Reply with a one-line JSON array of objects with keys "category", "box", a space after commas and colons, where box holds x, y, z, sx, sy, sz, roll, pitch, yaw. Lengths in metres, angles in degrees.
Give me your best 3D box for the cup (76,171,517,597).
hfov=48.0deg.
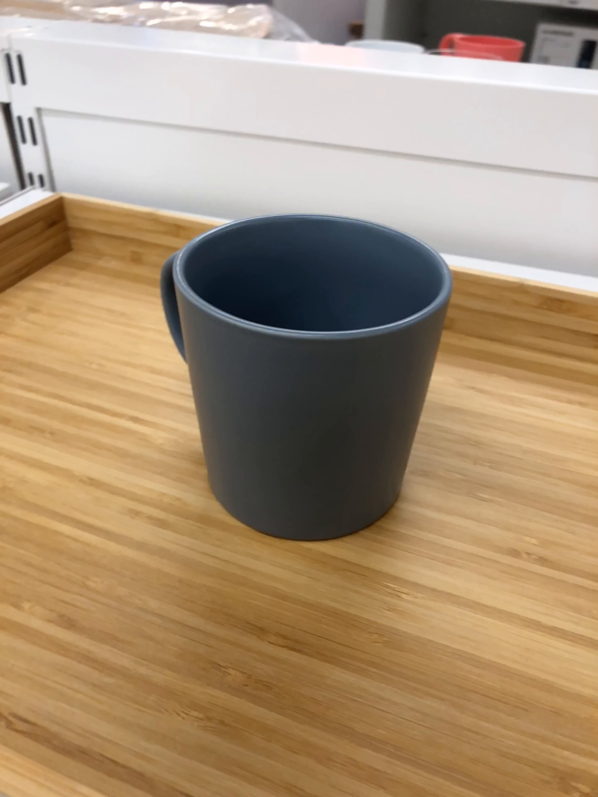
[{"category": "cup", "box": [-0.006, -0.016, 0.250, 0.090, 0.090, 0.120, -27, 45, -35]}]
